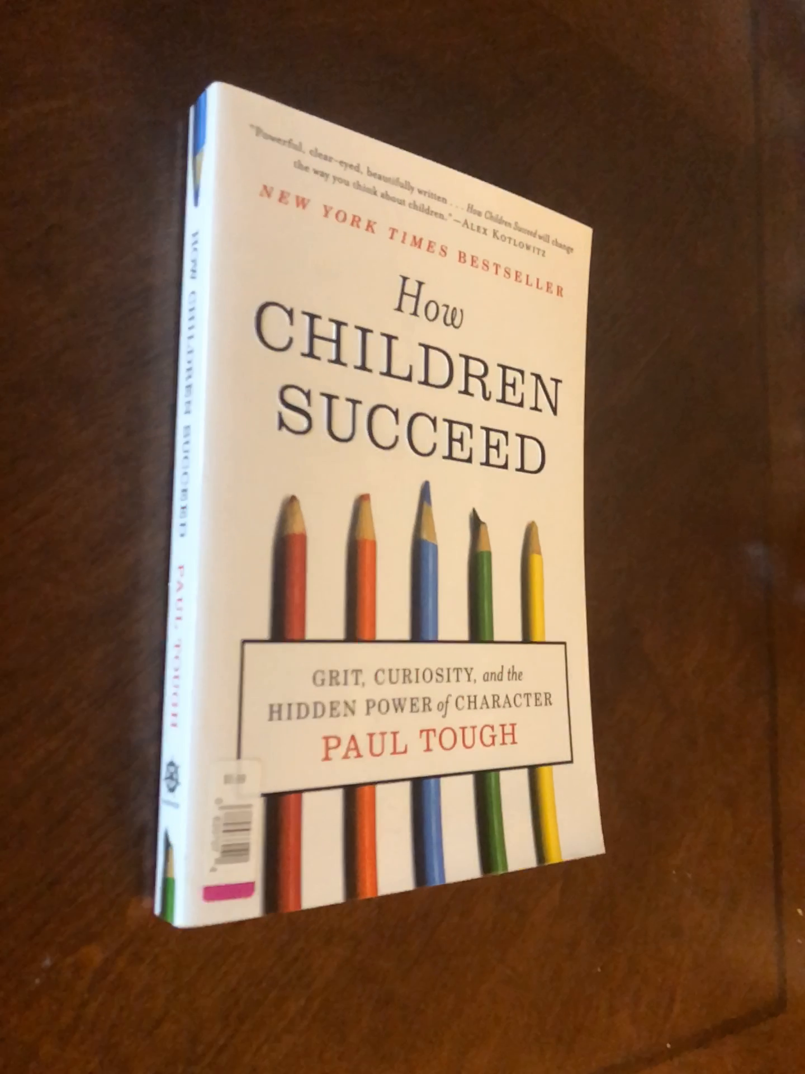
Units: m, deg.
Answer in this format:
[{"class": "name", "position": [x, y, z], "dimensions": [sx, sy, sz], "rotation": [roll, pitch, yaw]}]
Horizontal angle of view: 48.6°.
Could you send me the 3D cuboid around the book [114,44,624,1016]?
[{"class": "book", "position": [0.001, -0.001, 0.244], "dimensions": [0.141, 0.030, 0.210], "rotation": [6, 82, -36]}]
